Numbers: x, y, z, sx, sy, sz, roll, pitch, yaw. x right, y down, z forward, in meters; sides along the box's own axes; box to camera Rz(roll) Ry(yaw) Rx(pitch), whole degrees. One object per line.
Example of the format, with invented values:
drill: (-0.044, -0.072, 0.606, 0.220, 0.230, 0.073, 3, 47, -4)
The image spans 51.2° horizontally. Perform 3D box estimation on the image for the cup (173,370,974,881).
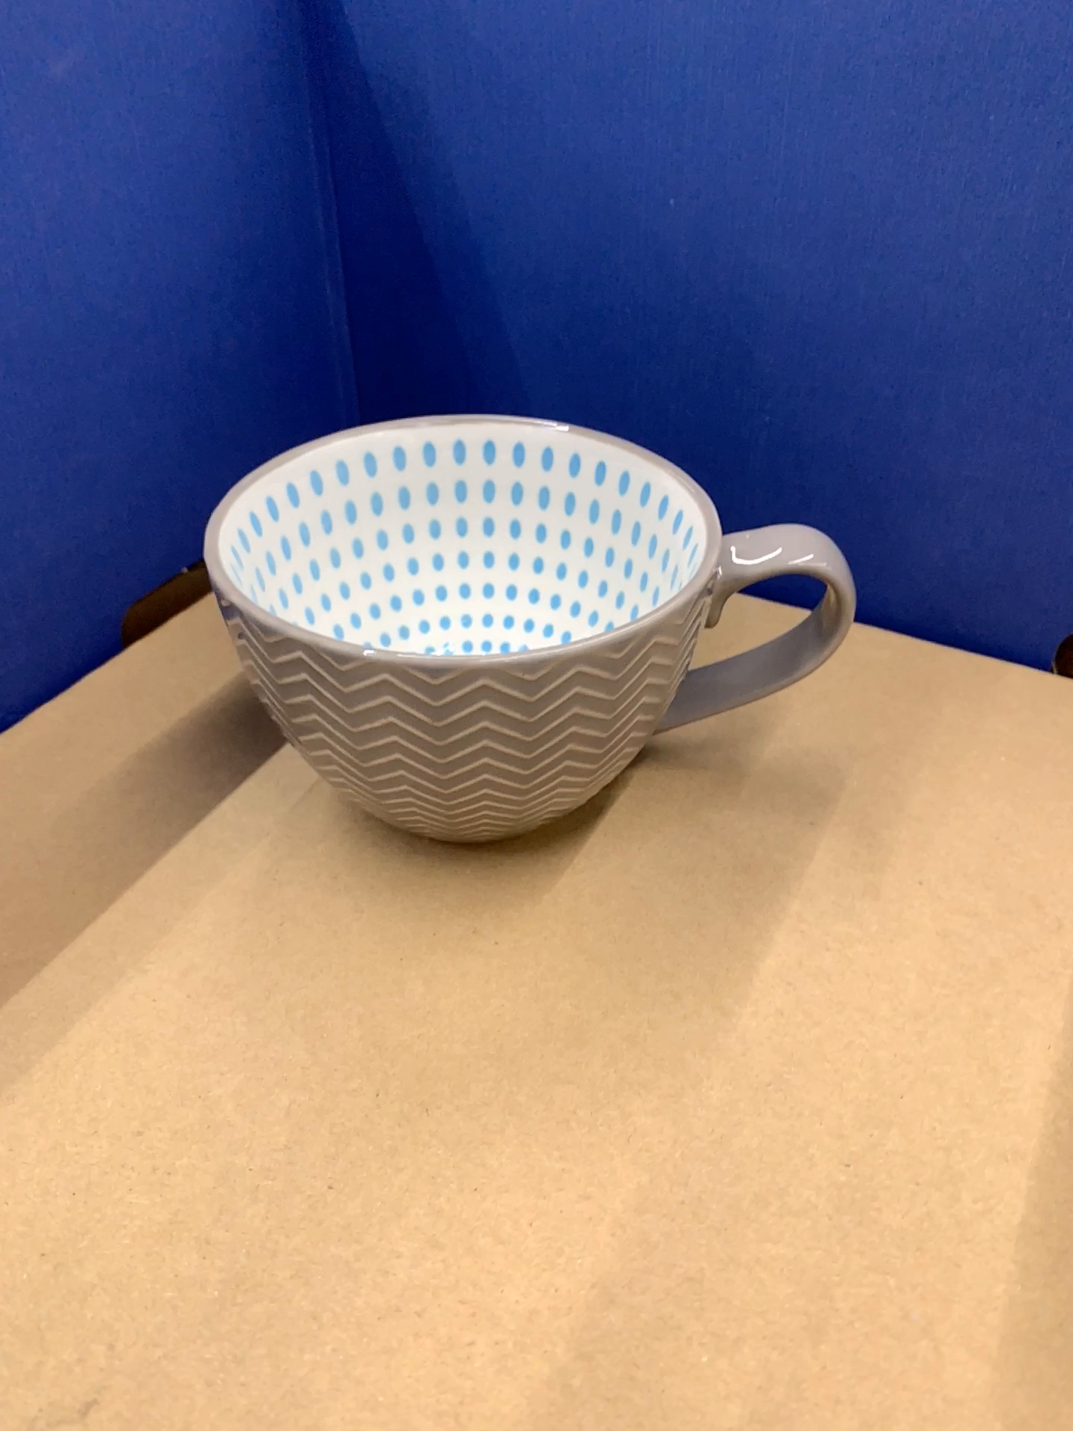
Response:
cup: (0.001, -0.030, 0.265, 0.150, 0.058, 0.109, -7, 36, -8)
